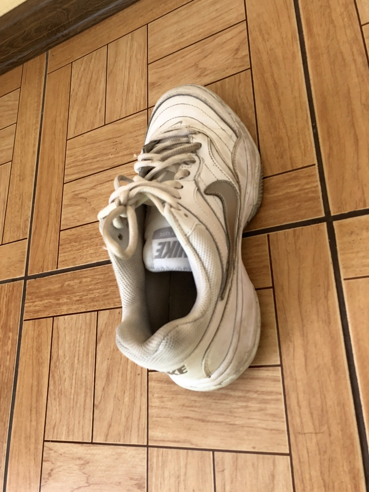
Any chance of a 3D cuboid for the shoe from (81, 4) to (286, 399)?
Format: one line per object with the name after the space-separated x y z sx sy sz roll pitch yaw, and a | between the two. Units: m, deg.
-0.001 -0.026 0.311 0.100 0.100 0.260 -12 69 26 | shoe
